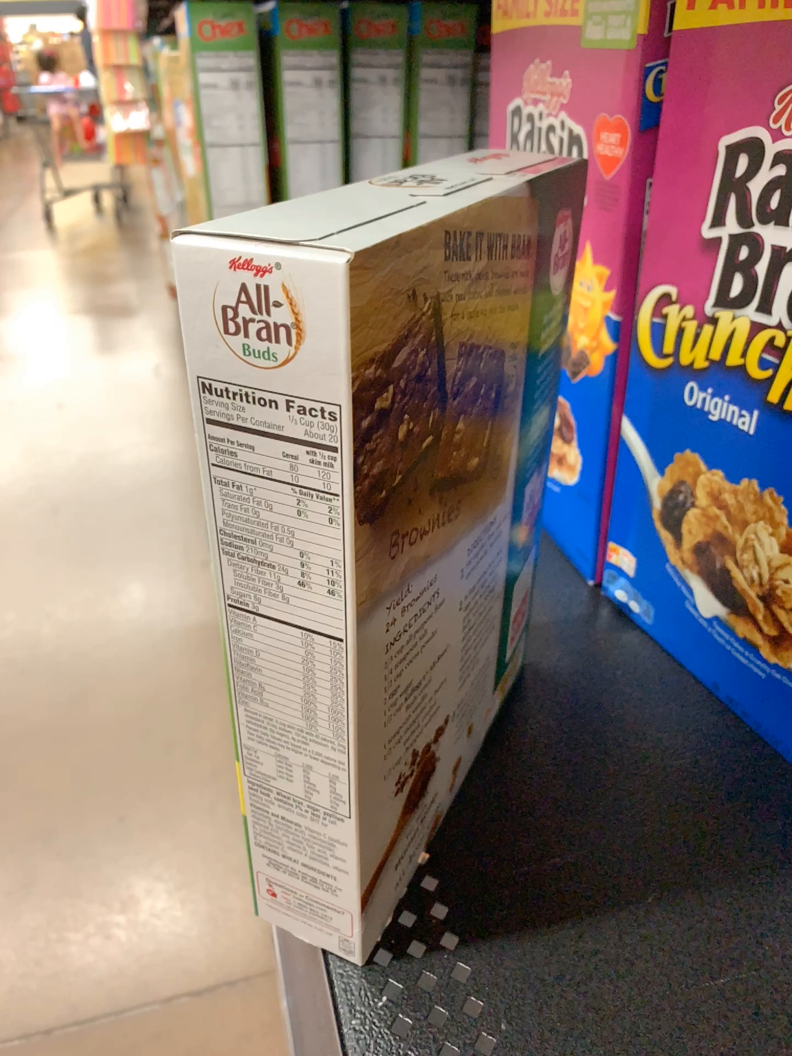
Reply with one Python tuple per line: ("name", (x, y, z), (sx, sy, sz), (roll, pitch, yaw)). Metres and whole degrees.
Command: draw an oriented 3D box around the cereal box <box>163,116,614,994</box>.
("cereal box", (0.013, 0.002, 0.304), (0.050, 0.259, 0.191), (15, 34, 21))
